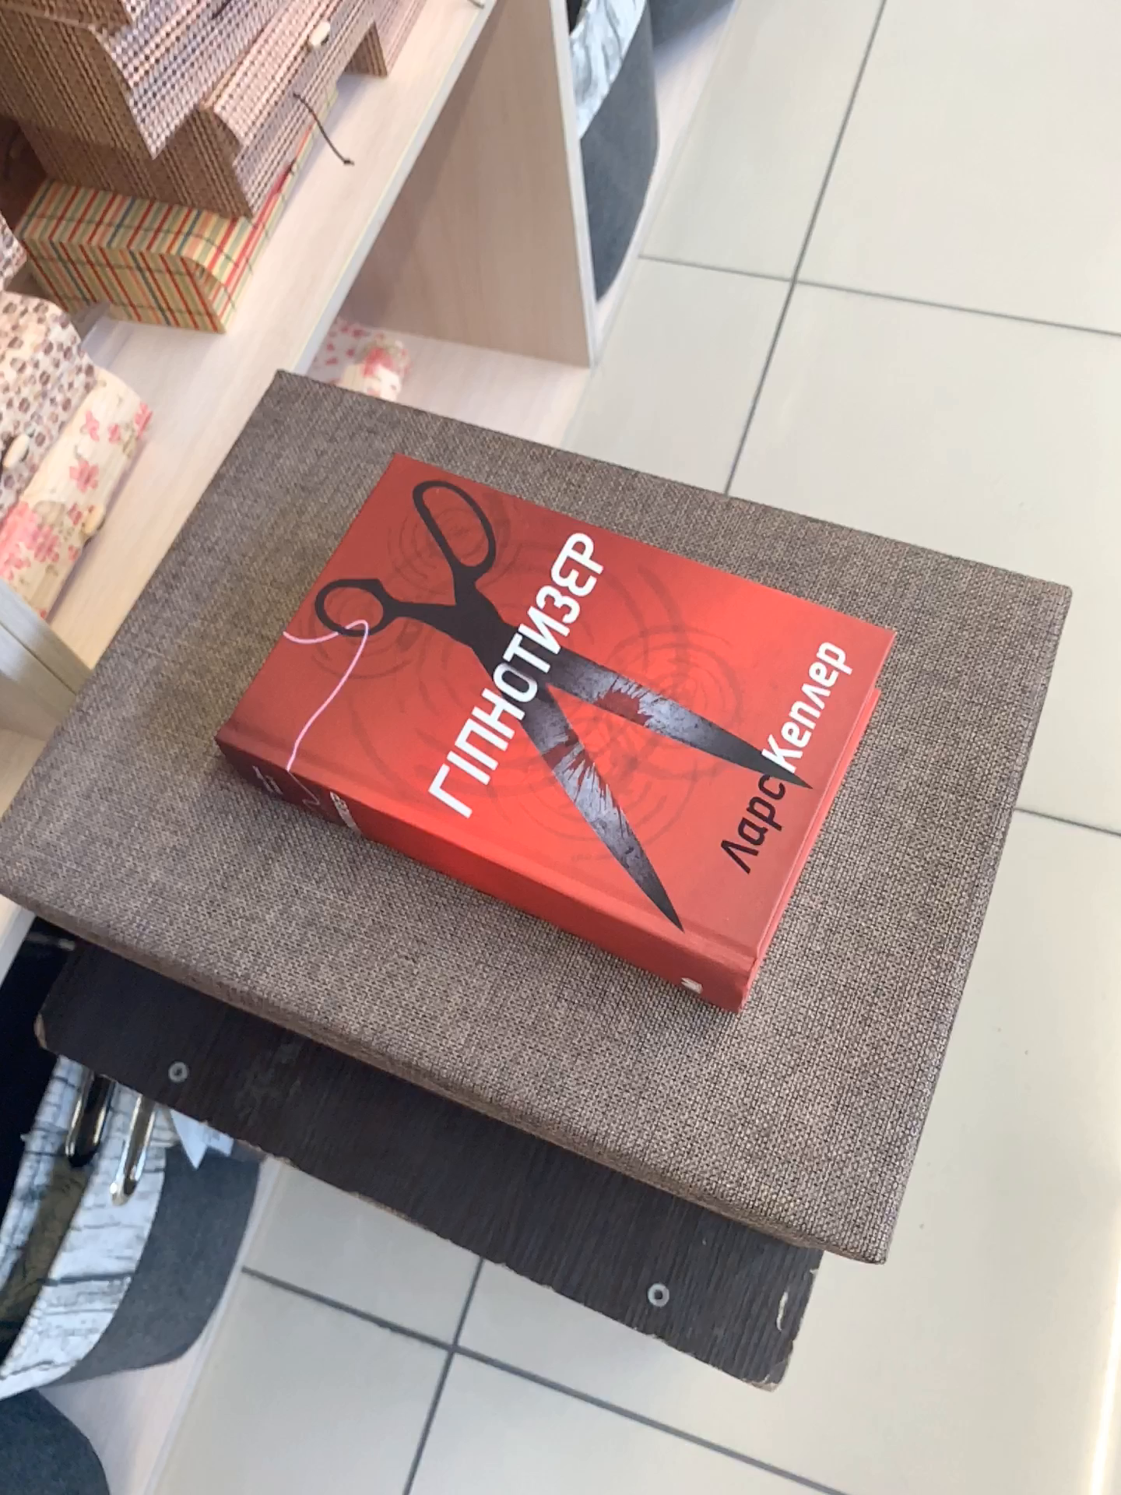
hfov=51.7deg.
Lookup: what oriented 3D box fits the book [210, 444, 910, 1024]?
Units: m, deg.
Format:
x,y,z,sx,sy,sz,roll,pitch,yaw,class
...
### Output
x,y,z,sx,sy,sz,roll,pitch,yaw,class
0.001,-0.009,0.409,0.195,0.060,0.131,22,72,15,book
